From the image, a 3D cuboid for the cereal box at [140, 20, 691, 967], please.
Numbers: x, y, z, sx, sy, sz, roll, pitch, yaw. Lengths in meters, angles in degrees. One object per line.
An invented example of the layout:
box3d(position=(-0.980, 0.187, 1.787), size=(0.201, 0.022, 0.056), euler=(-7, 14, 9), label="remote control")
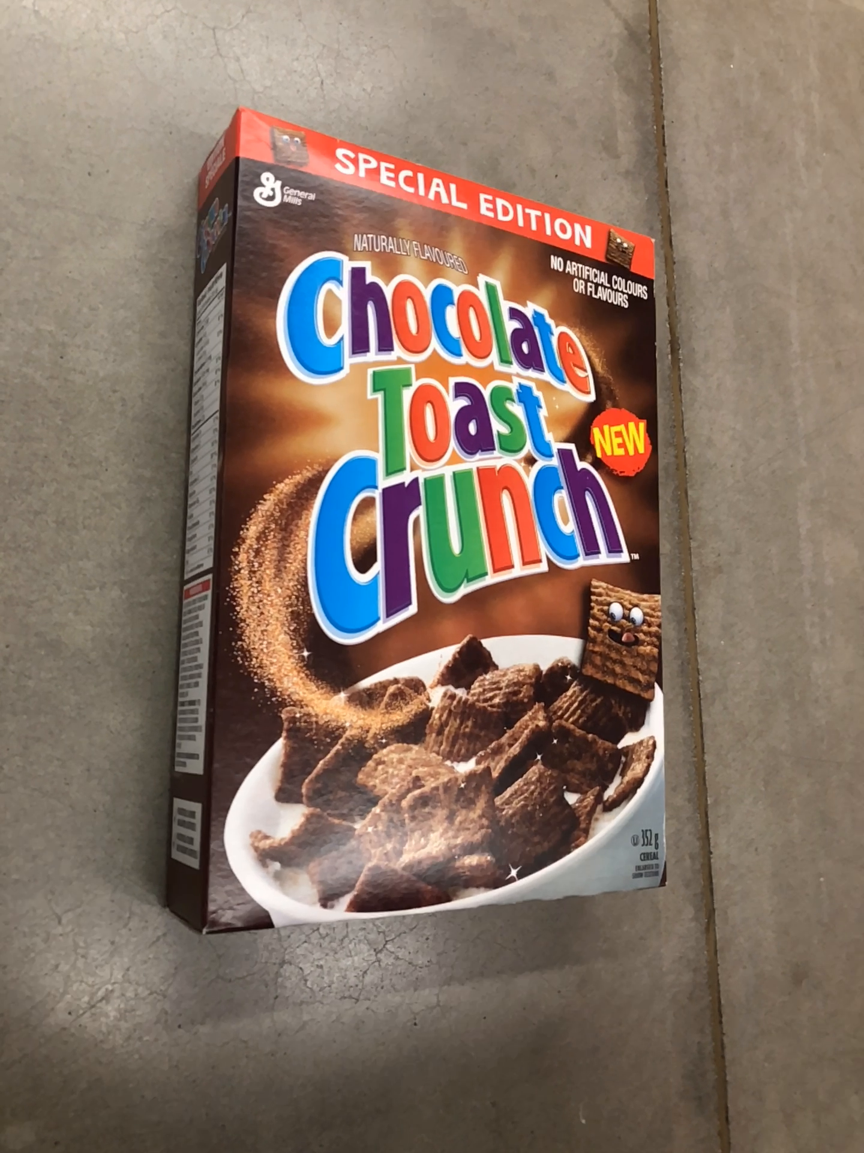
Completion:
box3d(position=(-0.003, -0.027, 0.376), size=(0.190, 0.070, 0.310), euler=(6, 77, -30), label="cereal box")
